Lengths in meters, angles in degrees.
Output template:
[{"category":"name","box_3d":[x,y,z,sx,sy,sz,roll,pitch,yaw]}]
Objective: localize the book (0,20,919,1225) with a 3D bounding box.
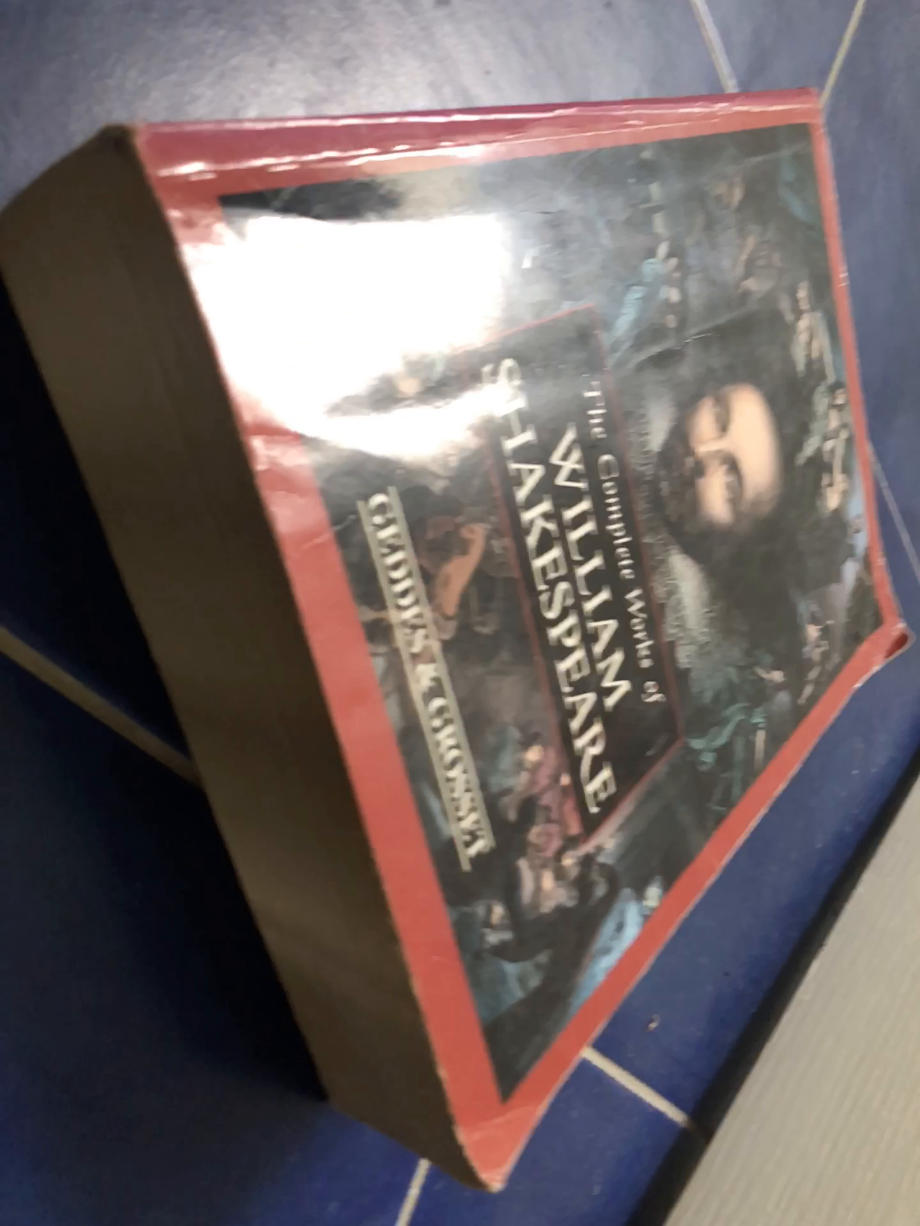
[{"category":"book","box_3d":[0.046,-0.028,0.275,0.272,0.060,0.210,-32,114,-46]}]
